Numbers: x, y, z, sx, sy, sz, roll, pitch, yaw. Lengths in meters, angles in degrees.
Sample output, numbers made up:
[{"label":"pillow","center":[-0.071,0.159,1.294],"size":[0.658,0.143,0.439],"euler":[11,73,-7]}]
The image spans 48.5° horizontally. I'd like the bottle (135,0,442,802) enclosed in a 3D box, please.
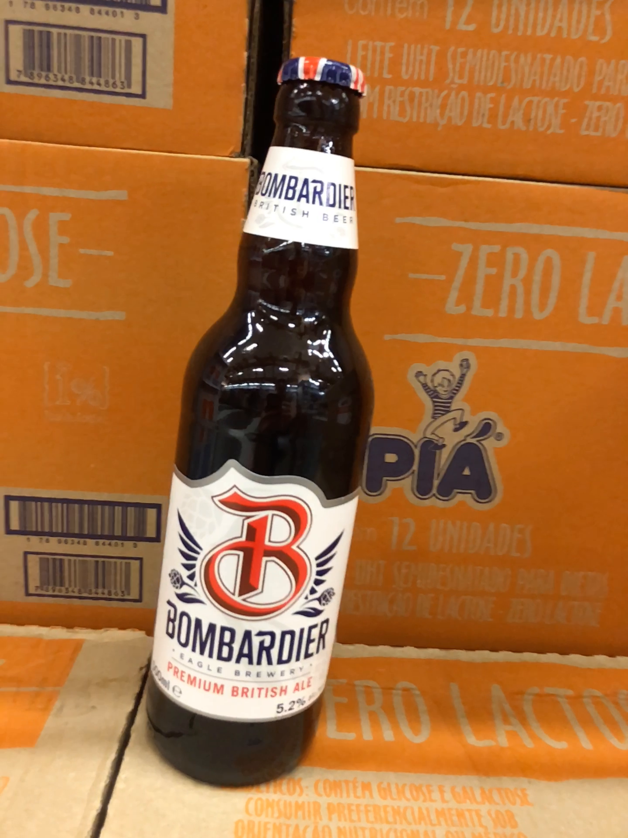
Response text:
[{"label":"bottle","center":[-0.014,0.000,0.248],"size":[0.070,0.259,0.060],"euler":[6,13,-2]}]
